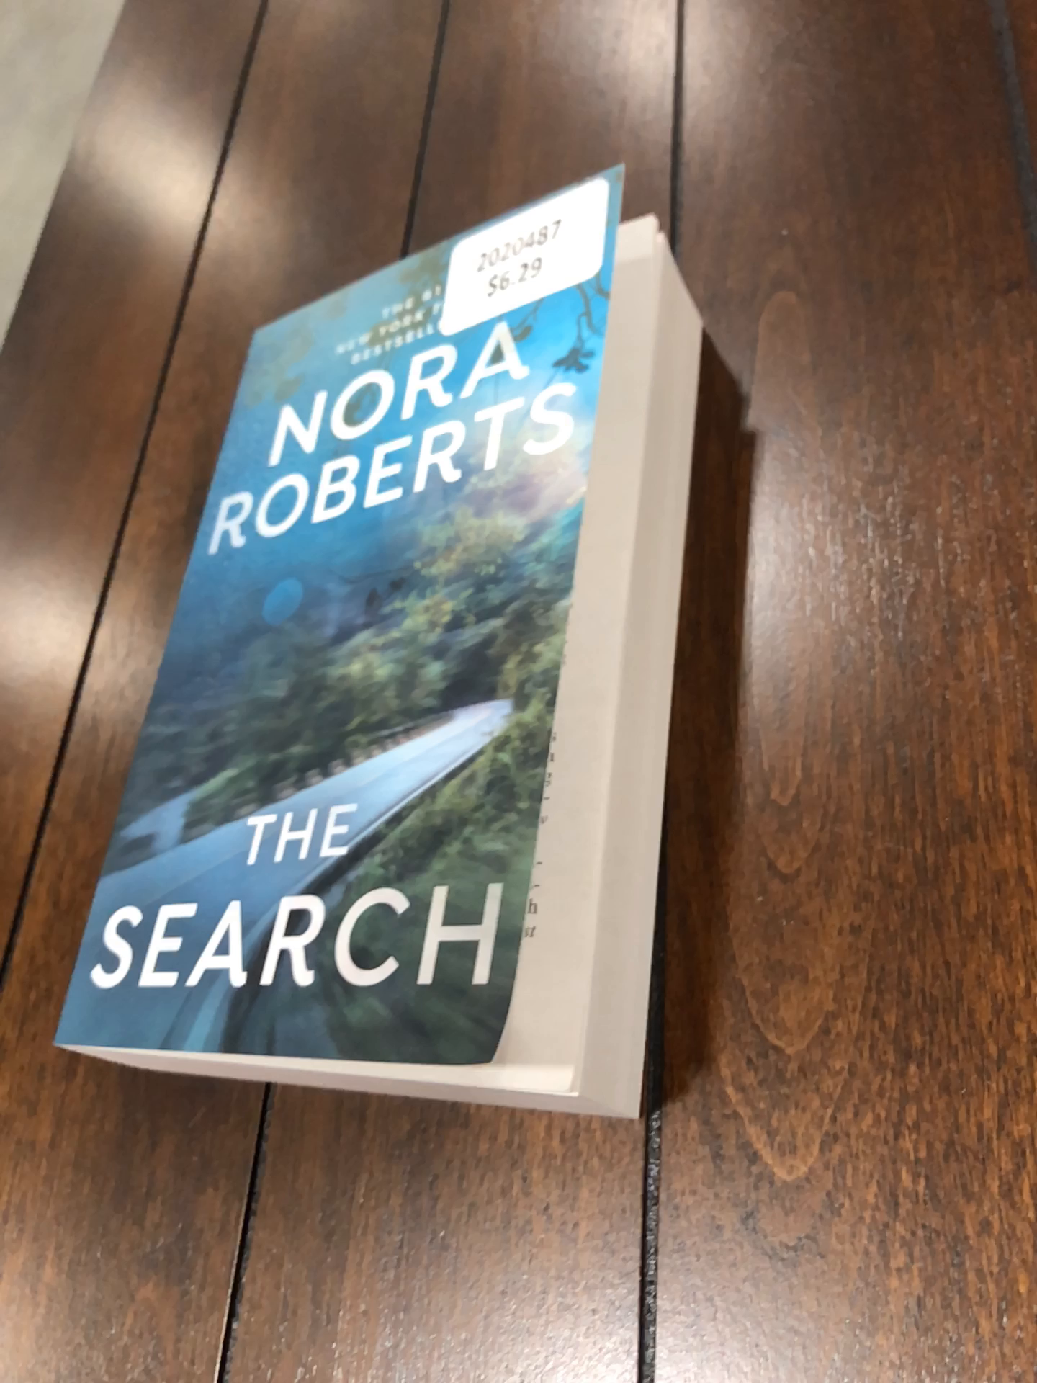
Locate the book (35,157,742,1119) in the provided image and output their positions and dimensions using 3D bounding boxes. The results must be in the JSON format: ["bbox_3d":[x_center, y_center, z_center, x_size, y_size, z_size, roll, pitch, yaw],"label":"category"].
[{"bbox_3d":[-0.020,-0.010,0.241,0.108,0.050,0.170,-9,60,34],"label":"book"}]
